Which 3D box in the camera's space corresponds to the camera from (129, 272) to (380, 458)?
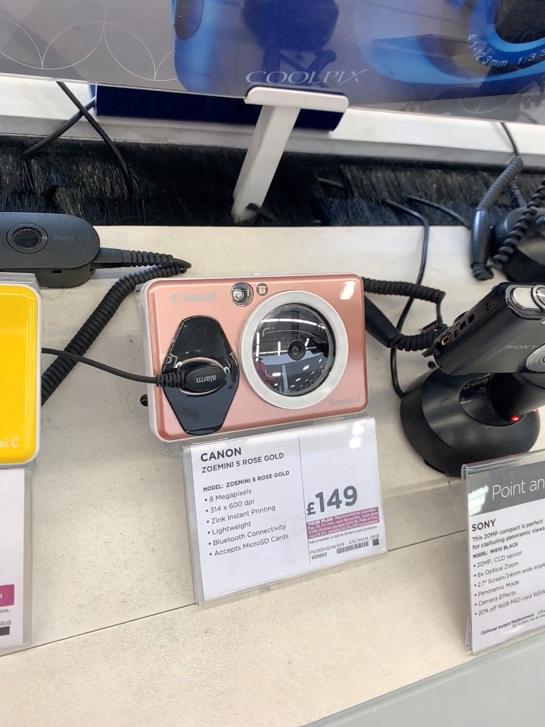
[{"bbox_3d":[-0.005,-0.004,0.295,0.129,0.020,0.083,-6,95,-24],"label":"camera"}]
